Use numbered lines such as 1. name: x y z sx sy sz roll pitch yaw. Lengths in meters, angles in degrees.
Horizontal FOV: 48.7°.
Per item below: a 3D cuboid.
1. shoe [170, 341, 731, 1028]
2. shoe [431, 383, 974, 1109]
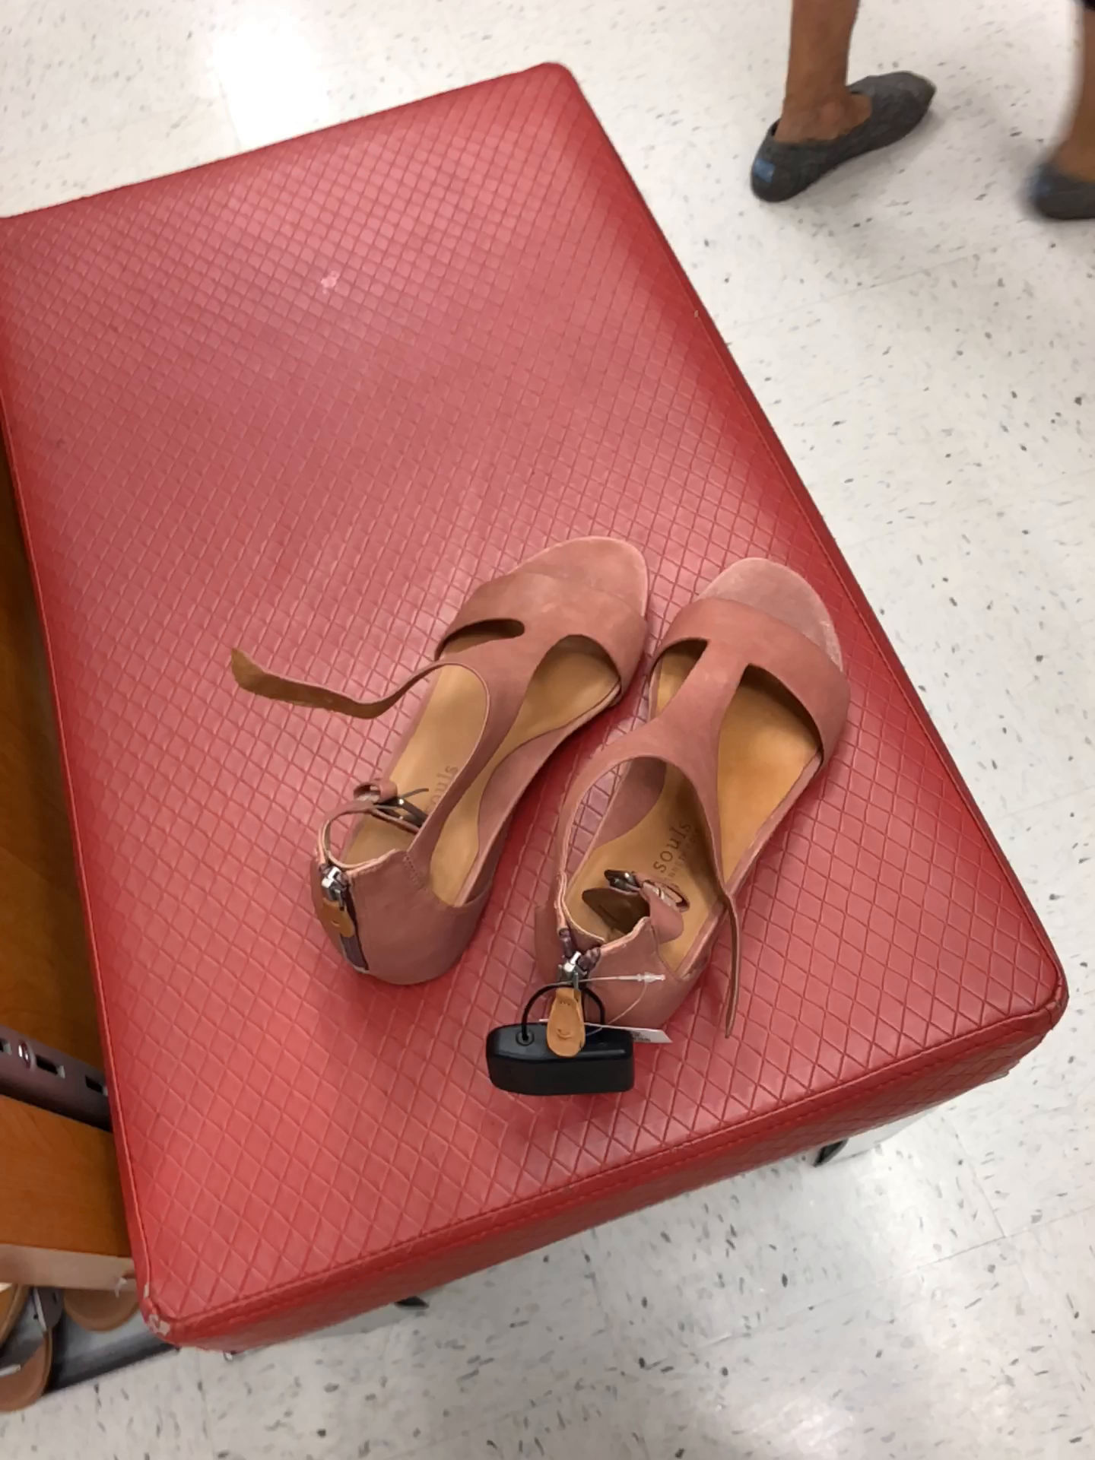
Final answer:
1. shoe: -0.027 -0.024 0.530 0.106 0.116 0.261 24 66 15
2. shoe: 0.070 0.004 0.513 0.103 0.126 0.263 24 66 15
